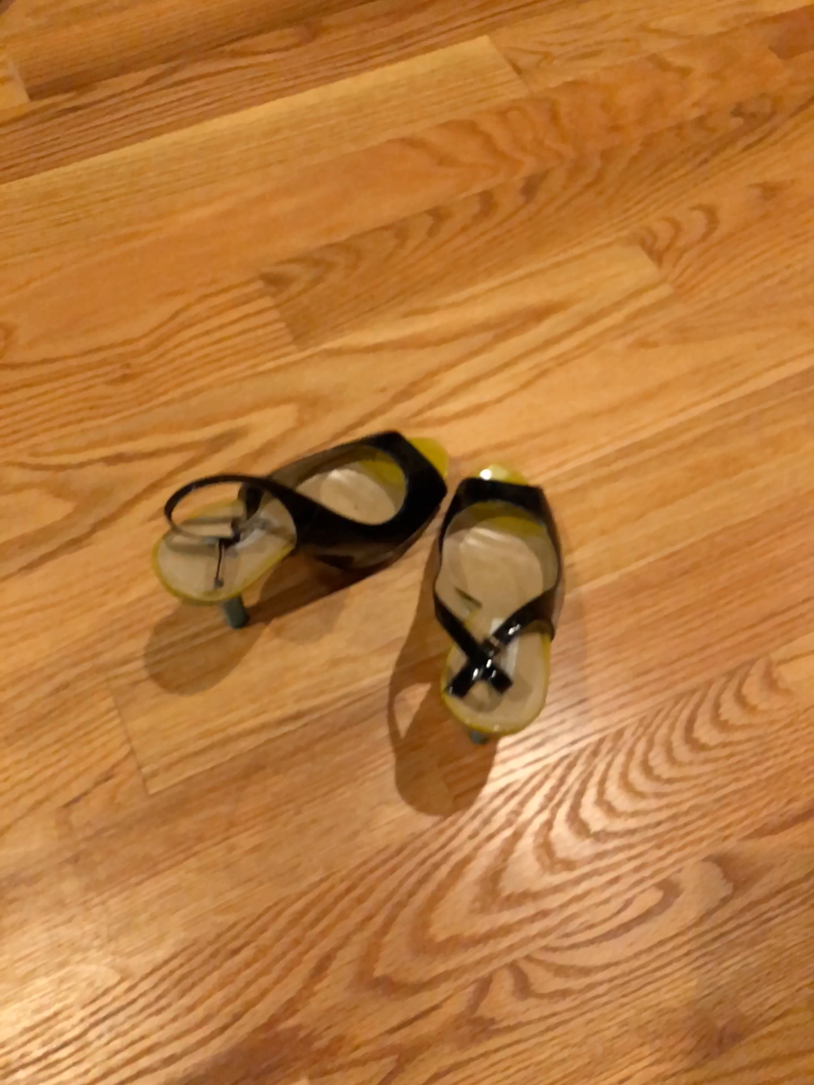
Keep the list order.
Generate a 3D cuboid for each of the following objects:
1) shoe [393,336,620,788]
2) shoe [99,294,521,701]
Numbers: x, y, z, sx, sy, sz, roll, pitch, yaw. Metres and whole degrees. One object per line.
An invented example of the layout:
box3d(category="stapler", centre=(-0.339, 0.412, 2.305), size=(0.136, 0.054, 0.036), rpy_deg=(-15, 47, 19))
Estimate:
box3d(category="shoe", centre=(0.052, 0.014, 0.496), size=(0.085, 0.131, 0.202), rpy_deg=(9, 65, 3))
box3d(category="shoe", centre=(-0.046, -0.023, 0.512), size=(0.204, 0.121, 0.085), rpy_deg=(-37, 71, -17))
